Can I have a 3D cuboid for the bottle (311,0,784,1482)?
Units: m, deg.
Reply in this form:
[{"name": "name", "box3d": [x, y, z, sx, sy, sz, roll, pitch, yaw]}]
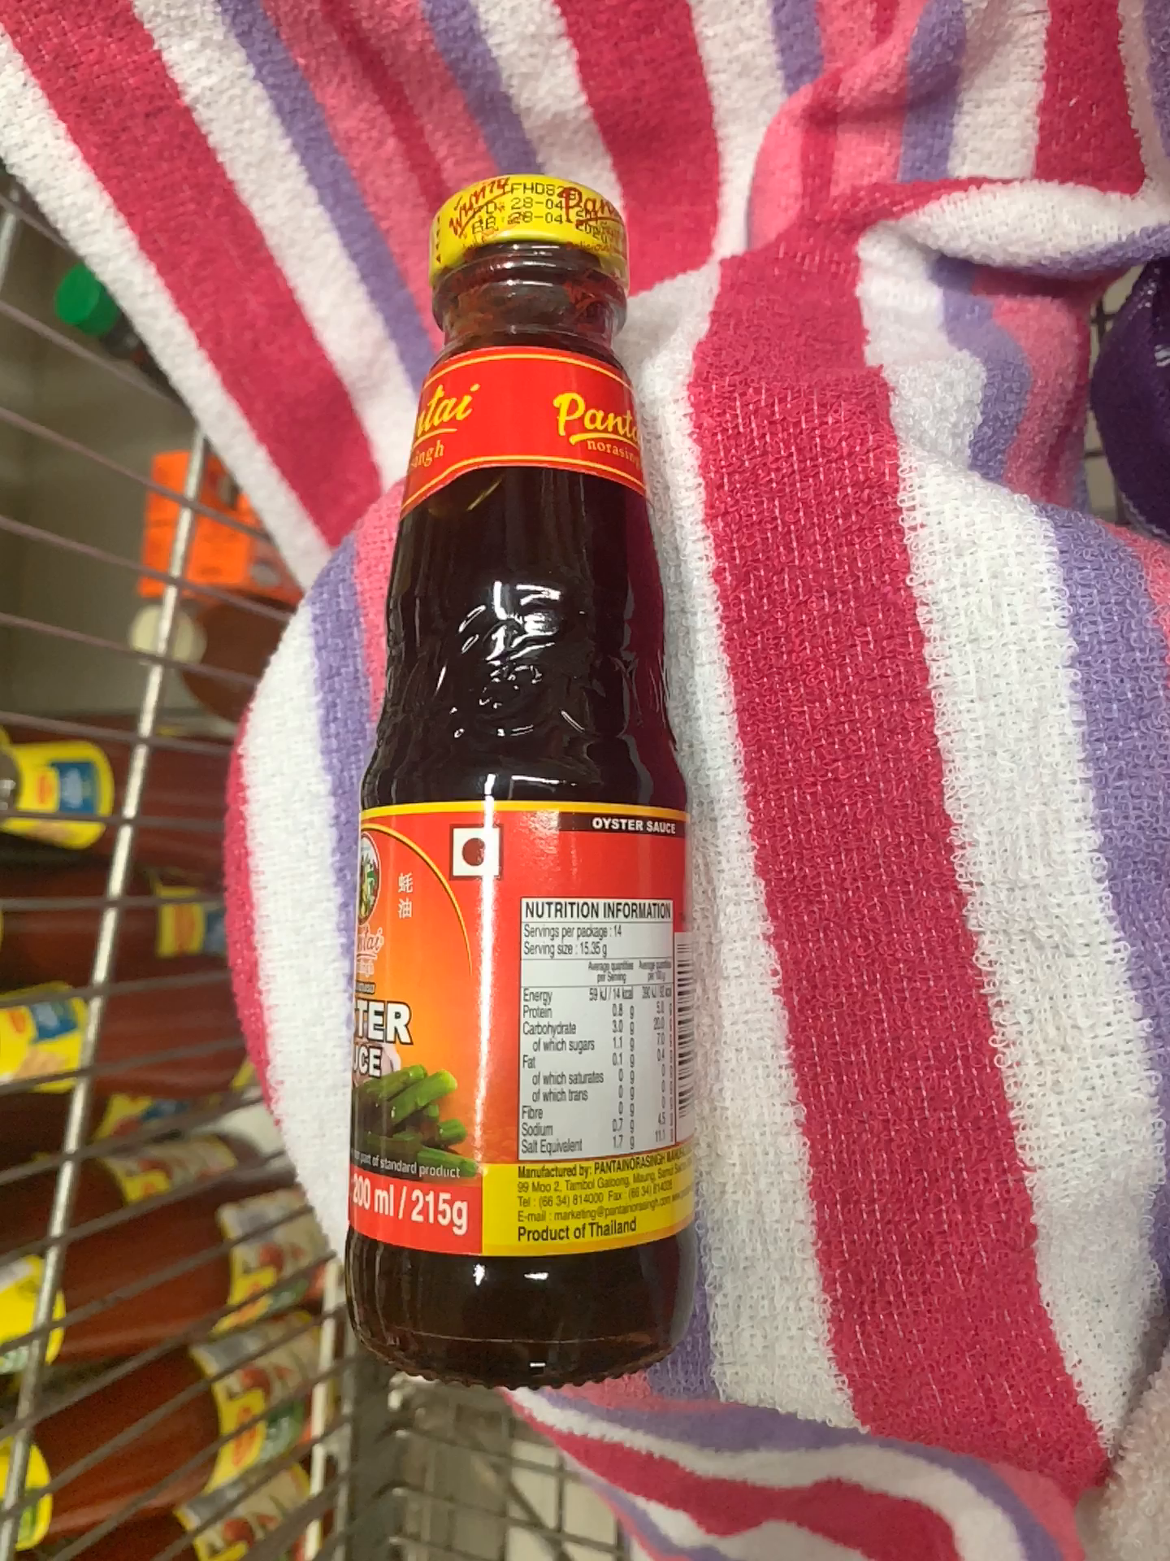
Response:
[{"name": "bottle", "box3d": [-0.006, -0.010, 0.184, 0.050, 0.050, 0.190, 166, 107, -64]}]
